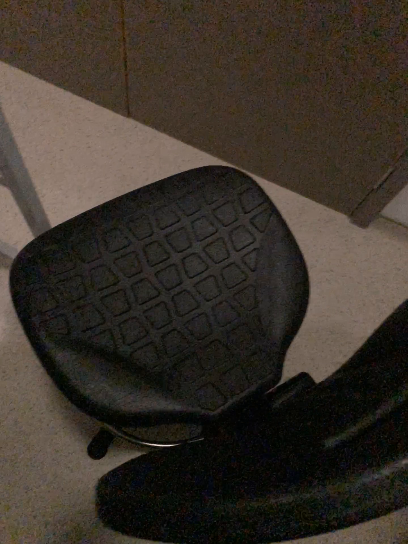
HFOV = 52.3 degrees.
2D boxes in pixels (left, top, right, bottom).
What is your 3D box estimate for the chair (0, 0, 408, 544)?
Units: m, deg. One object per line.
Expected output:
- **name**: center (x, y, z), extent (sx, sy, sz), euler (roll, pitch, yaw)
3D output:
- **chair**: center (-0.012, 0.031, 0.696), extent (0.621, 0.936, 0.672), euler (-26, 72, -17)
